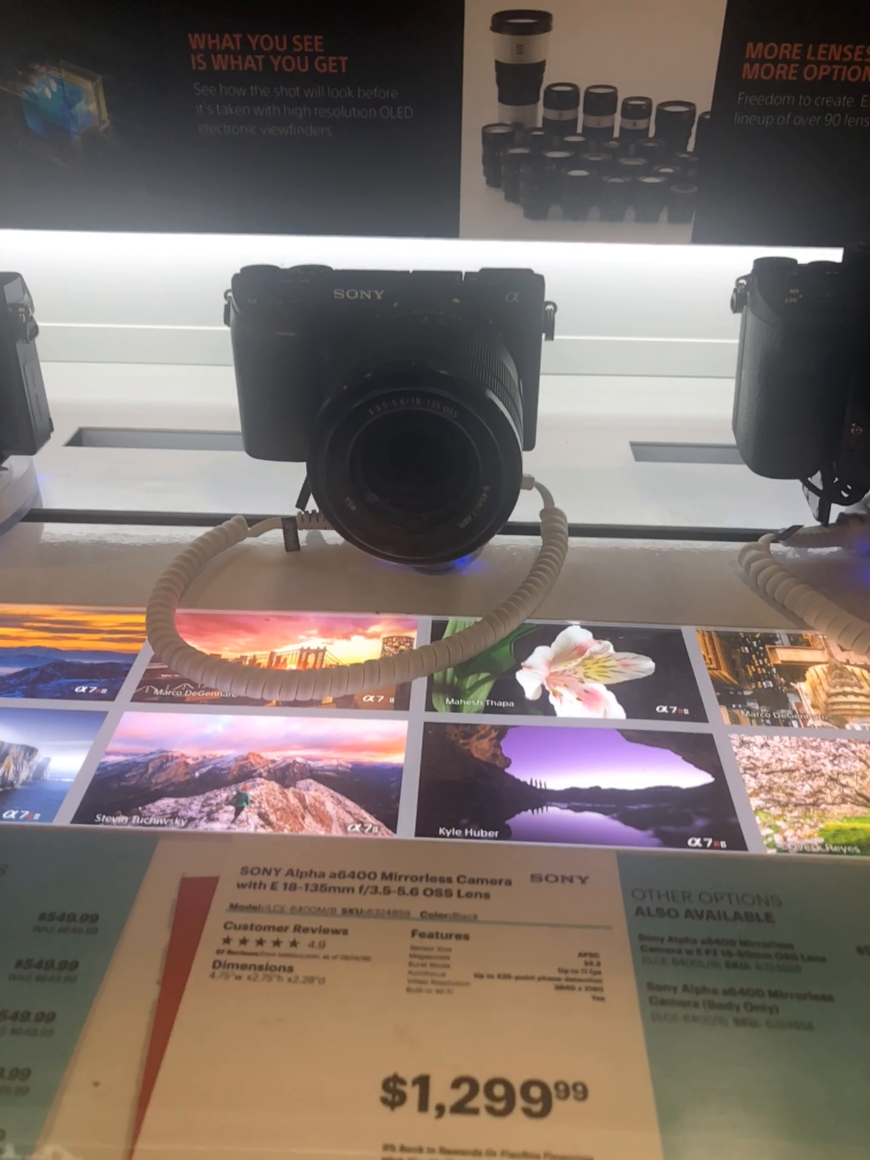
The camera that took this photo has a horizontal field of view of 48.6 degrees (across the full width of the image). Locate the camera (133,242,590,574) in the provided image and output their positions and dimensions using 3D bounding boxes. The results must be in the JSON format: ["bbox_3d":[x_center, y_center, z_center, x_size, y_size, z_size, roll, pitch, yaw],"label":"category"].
[{"bbox_3d":[-0.018,-0.069,0.347,0.130,0.070,0.131,2,32,2],"label":"camera"}]
